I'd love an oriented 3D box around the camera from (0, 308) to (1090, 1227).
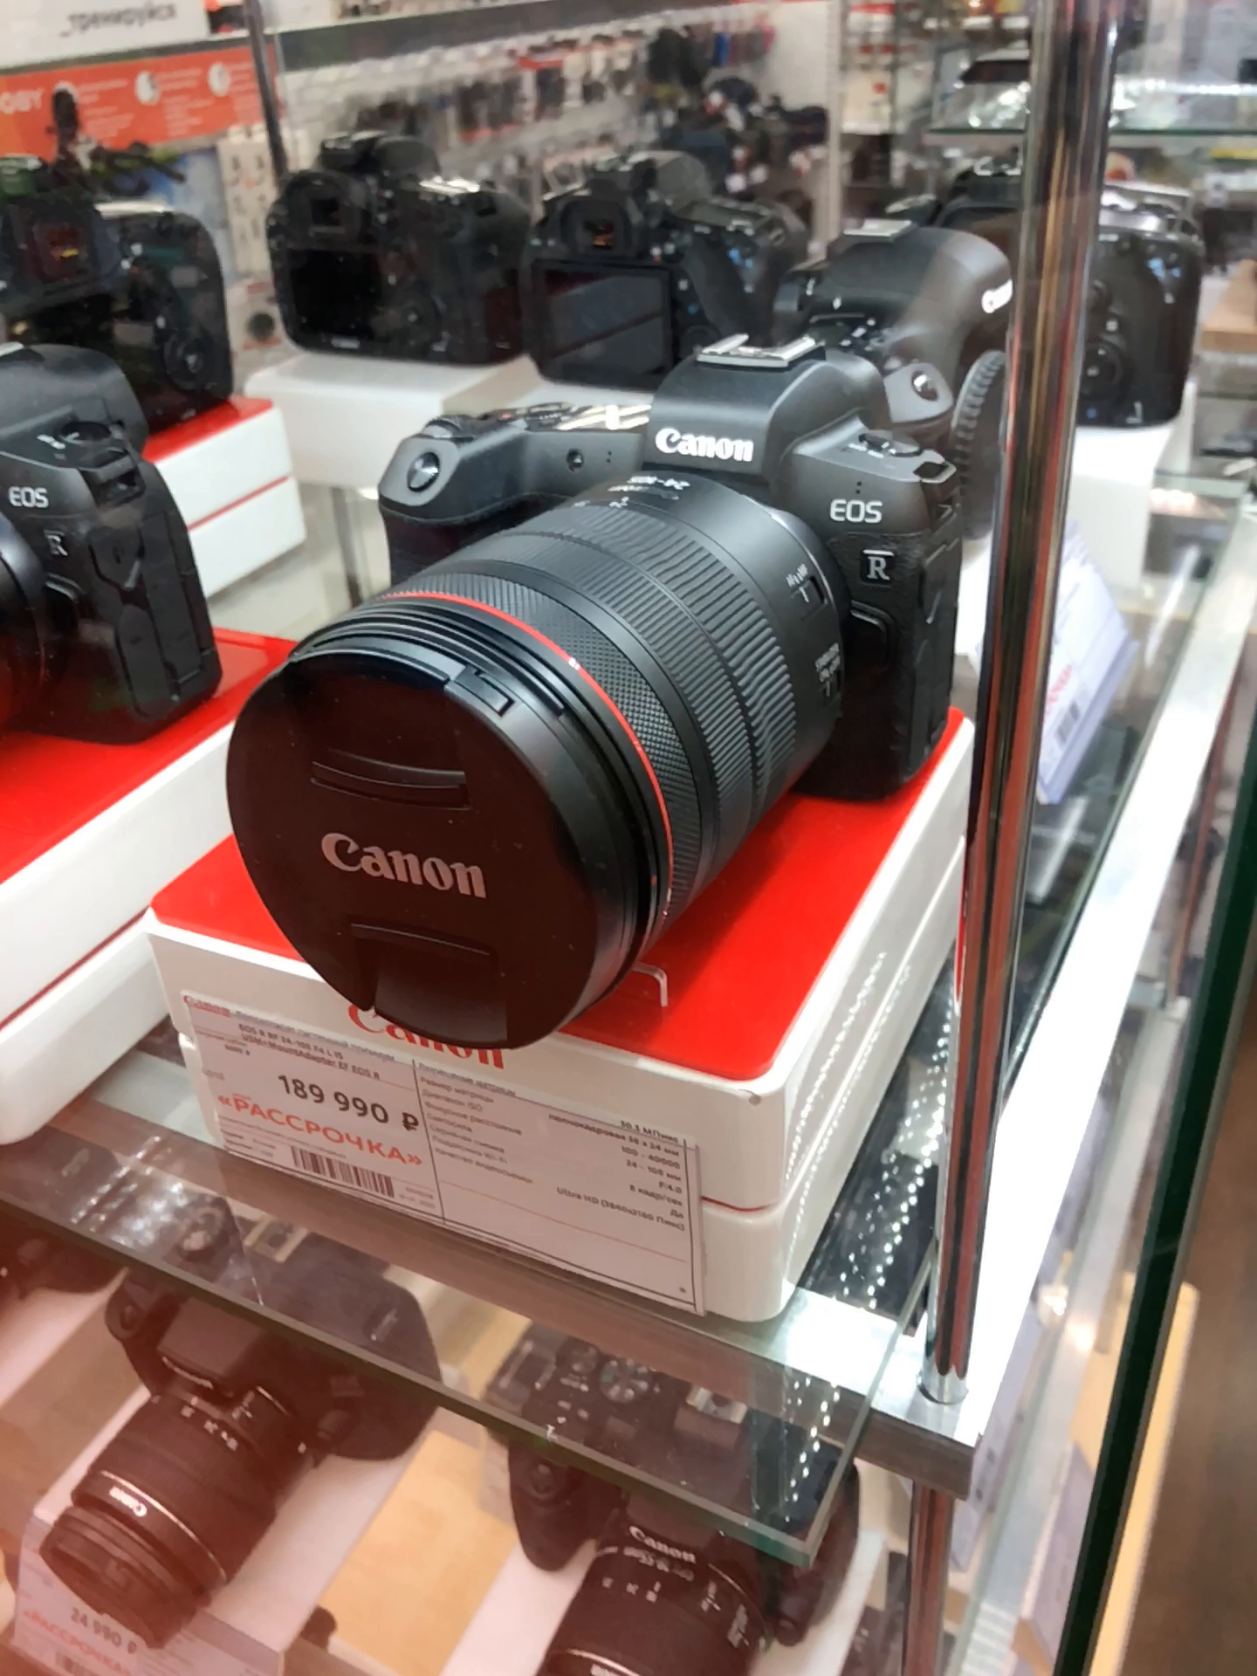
[{"bbox_3d":[-0.001,-0.038,0.291,0.144,0.093,0.181,13,36,23],"label":"camera"}]
